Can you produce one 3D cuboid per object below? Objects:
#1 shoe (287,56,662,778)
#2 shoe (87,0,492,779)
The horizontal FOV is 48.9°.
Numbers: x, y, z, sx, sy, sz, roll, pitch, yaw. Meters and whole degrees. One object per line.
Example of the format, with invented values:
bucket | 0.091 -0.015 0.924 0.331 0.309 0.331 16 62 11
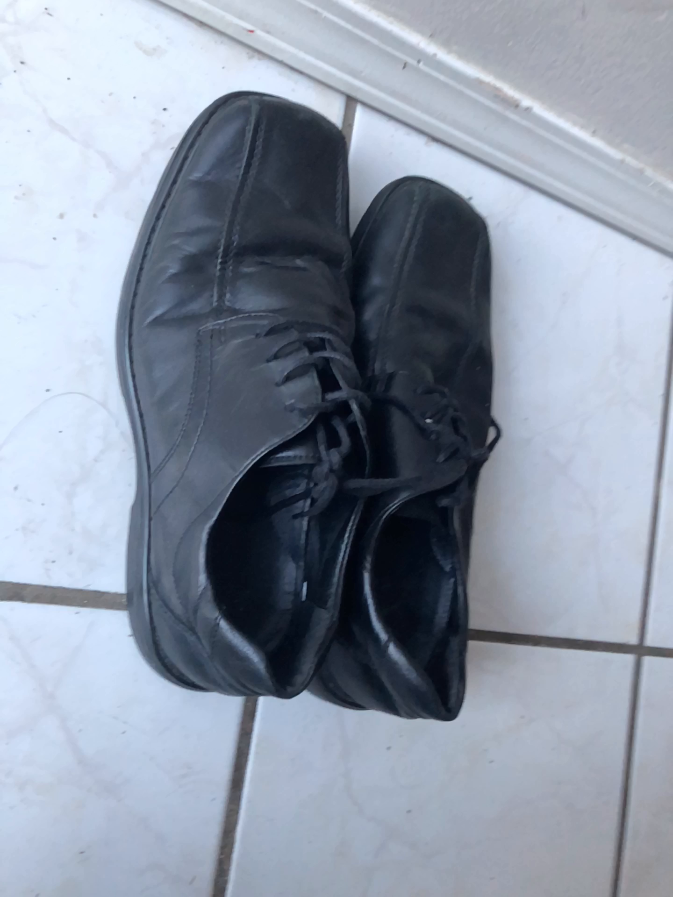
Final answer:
shoe | 0.067 -0.010 0.362 0.110 0.100 0.290 11 83 -29
shoe | -0.022 -0.030 0.323 0.120 0.100 0.290 7 85 -29
